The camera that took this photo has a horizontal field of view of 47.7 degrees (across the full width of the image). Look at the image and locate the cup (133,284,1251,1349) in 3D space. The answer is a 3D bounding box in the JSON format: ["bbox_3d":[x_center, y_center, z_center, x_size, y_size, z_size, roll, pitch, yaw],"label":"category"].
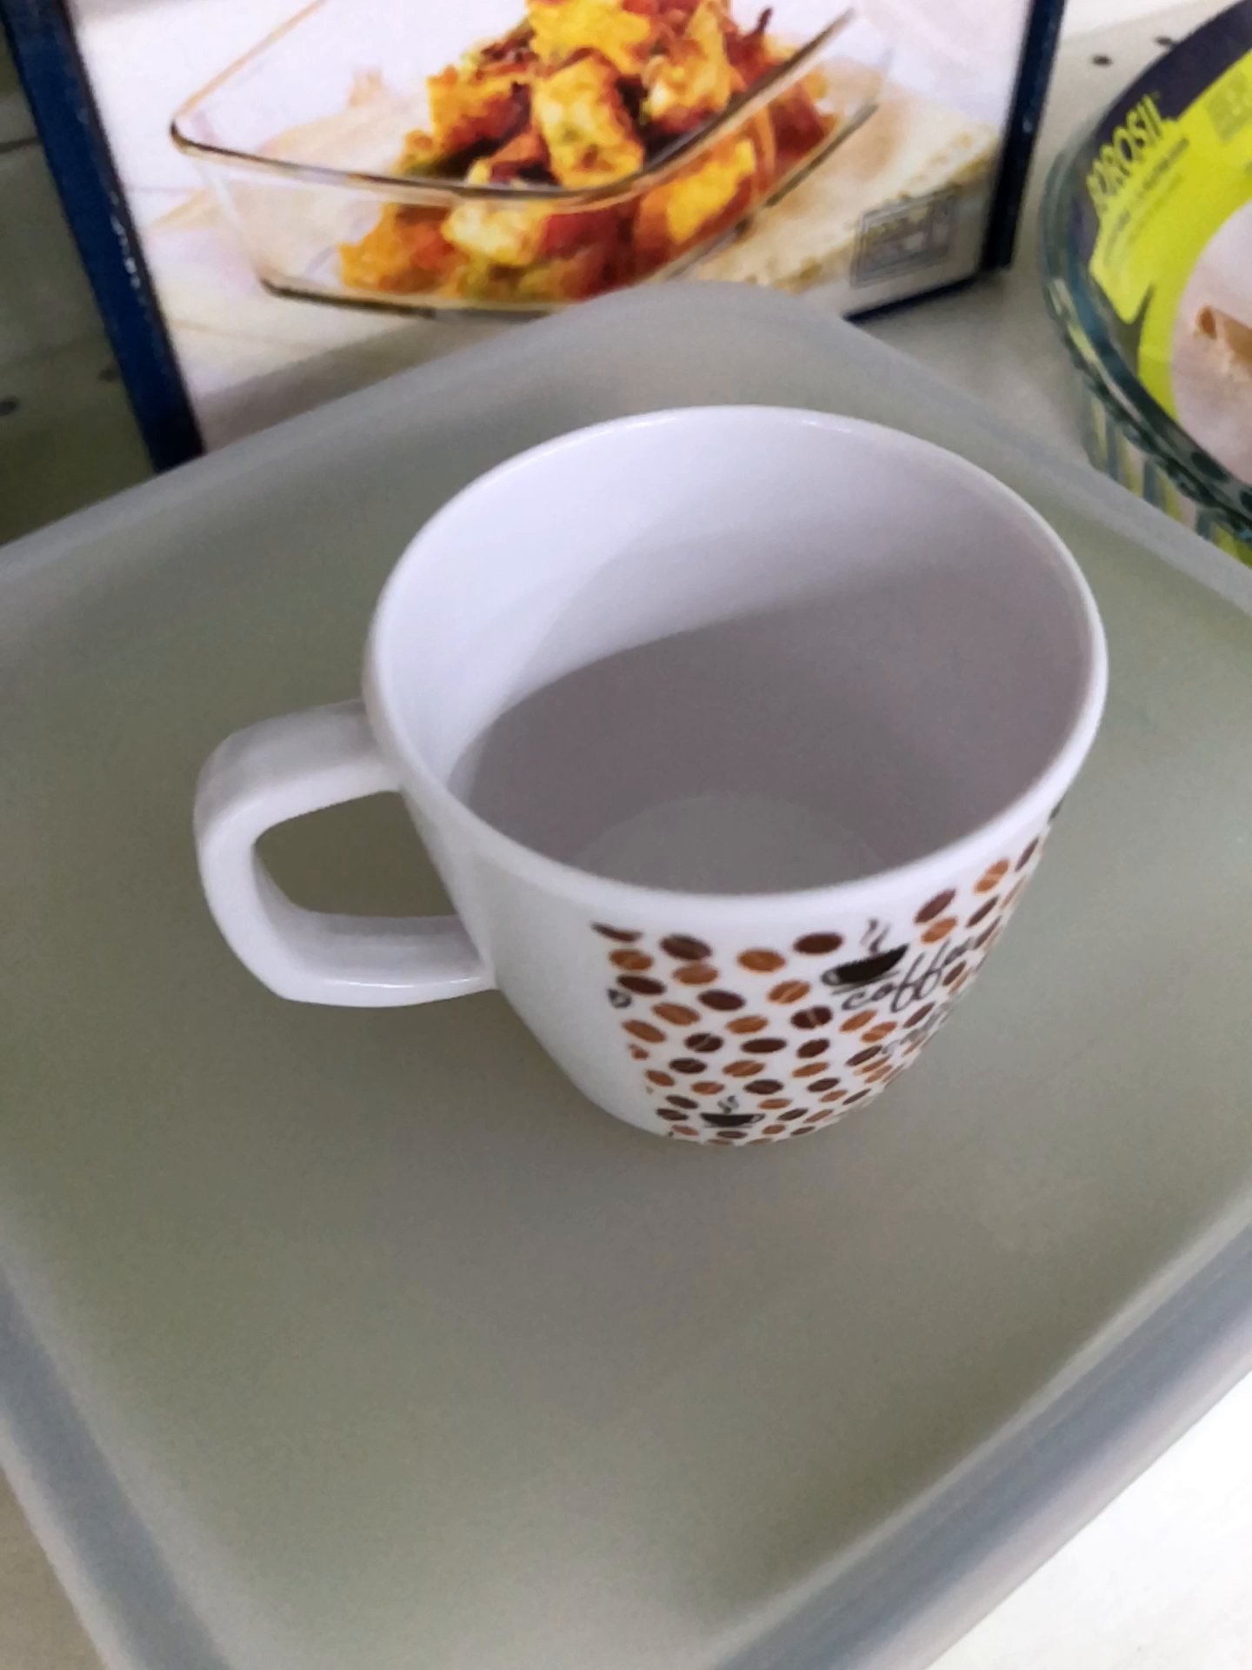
[{"bbox_3d":[0.006,-0.004,0.124,0.080,0.050,0.060,-12,51,-8],"label":"cup"}]
